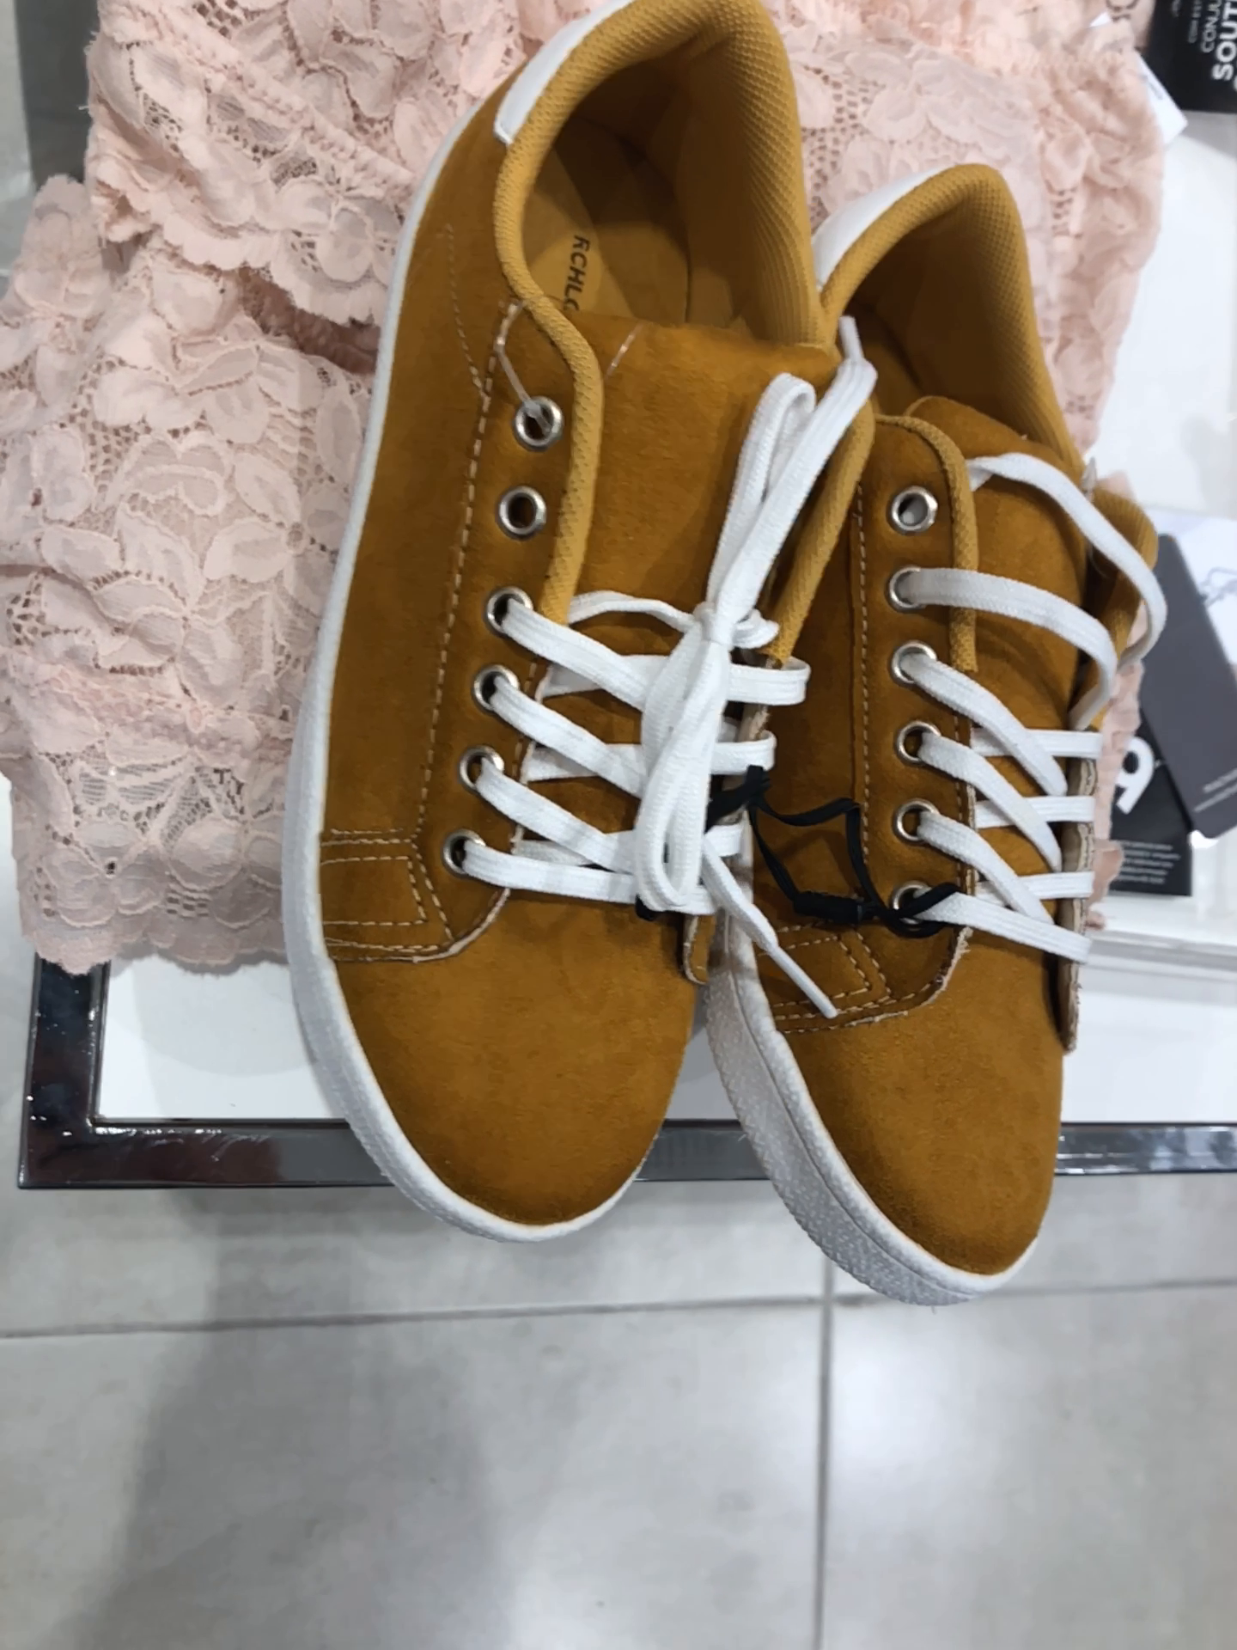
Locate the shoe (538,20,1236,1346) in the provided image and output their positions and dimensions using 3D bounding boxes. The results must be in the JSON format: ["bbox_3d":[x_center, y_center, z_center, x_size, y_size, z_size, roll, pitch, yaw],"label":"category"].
[{"bbox_3d":[0.056,-0.022,0.305,0.100,0.100,0.240,7,74,-35],"label":"shoe"}]

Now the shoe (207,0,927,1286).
[{"bbox_3d":[-0.011,-0.044,0.272,0.090,0.100,0.240,9,77,-35],"label":"shoe"}]
